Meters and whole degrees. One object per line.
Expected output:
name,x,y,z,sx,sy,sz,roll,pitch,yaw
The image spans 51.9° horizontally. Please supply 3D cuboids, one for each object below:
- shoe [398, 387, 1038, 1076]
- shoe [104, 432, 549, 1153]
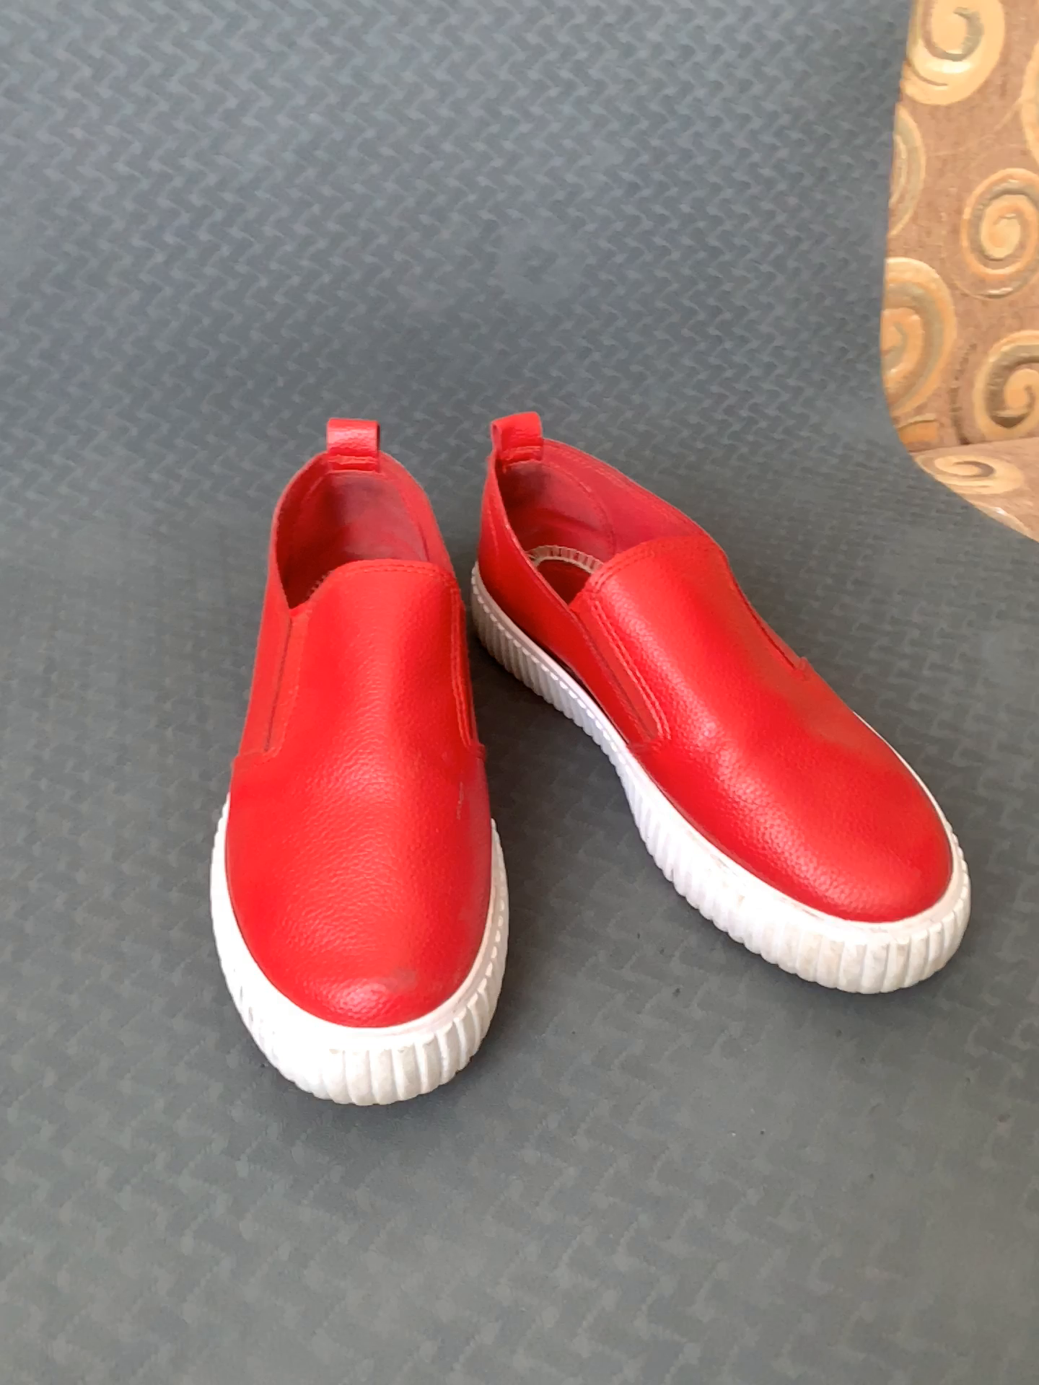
shoe,0.058,-0.009,0.359,0.095,0.070,0.241,-22,48,-24
shoe,-0.052,0.009,0.342,0.095,0.070,0.241,-2,43,-5
